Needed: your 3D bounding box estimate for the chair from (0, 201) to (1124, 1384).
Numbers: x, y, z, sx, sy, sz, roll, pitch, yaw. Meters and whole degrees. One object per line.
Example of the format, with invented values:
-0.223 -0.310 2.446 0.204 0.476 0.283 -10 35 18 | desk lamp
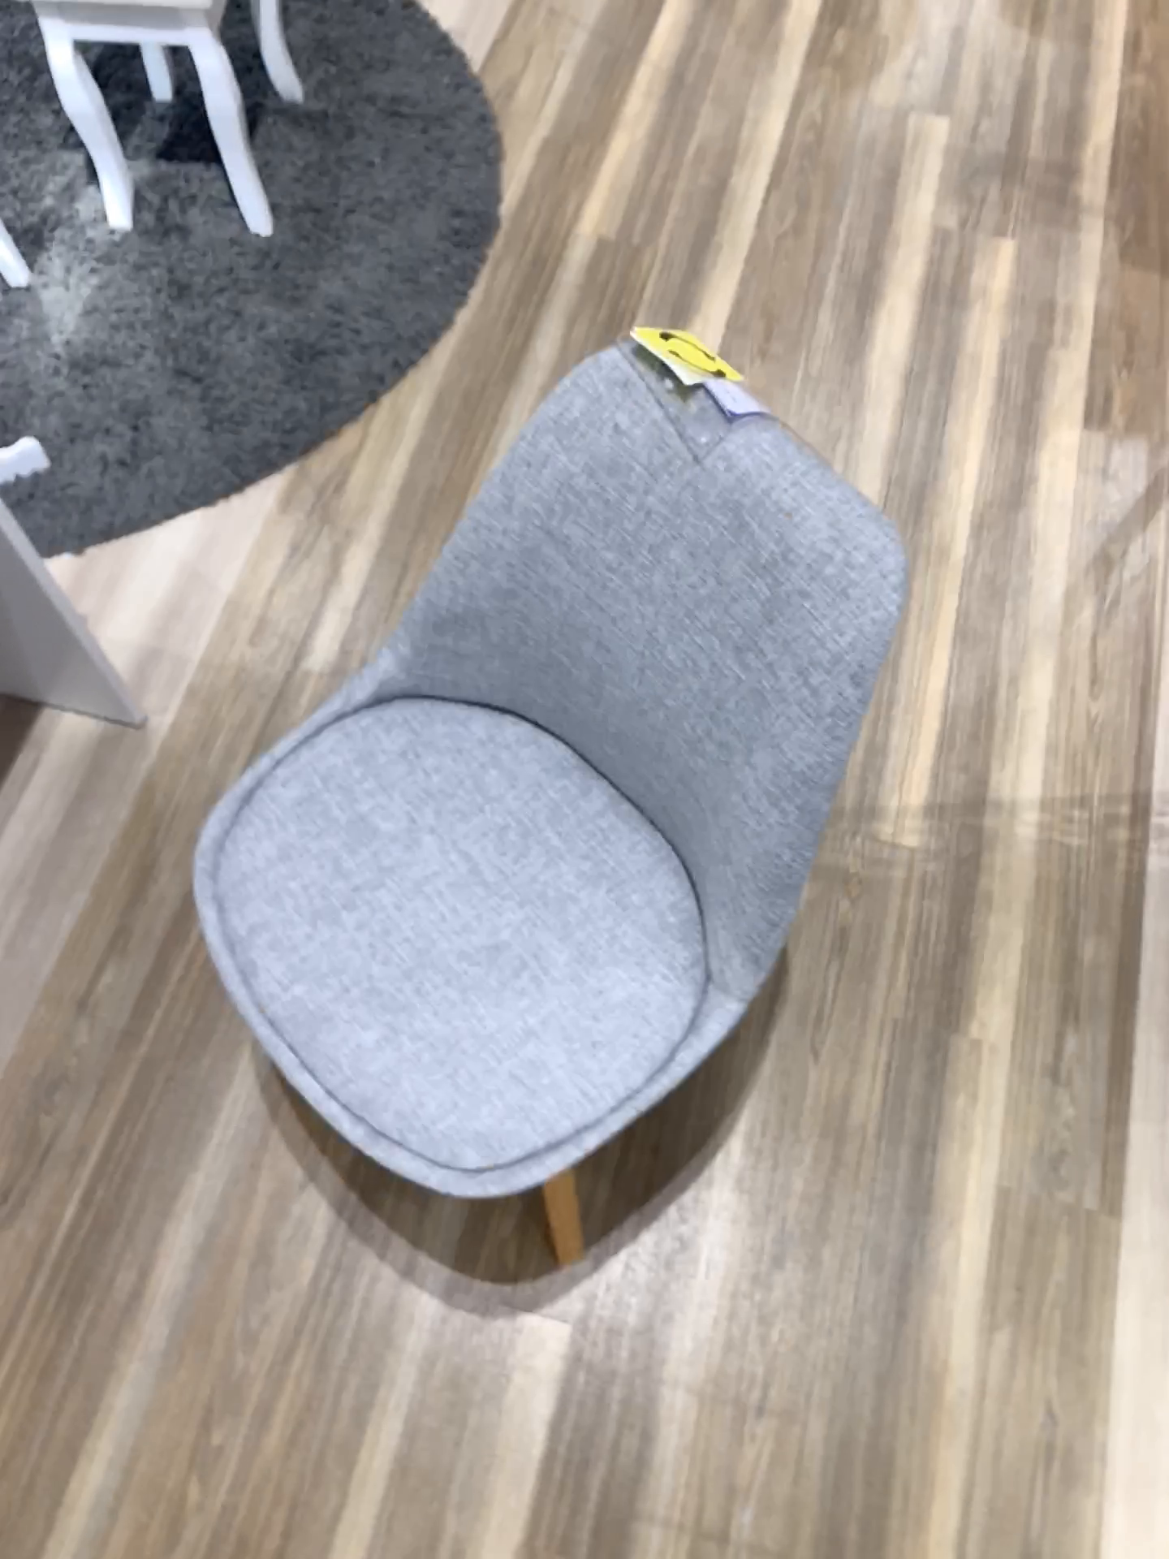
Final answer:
-0.066 0.117 1.054 0.516 0.858 0.514 -40 71 -18 | chair
